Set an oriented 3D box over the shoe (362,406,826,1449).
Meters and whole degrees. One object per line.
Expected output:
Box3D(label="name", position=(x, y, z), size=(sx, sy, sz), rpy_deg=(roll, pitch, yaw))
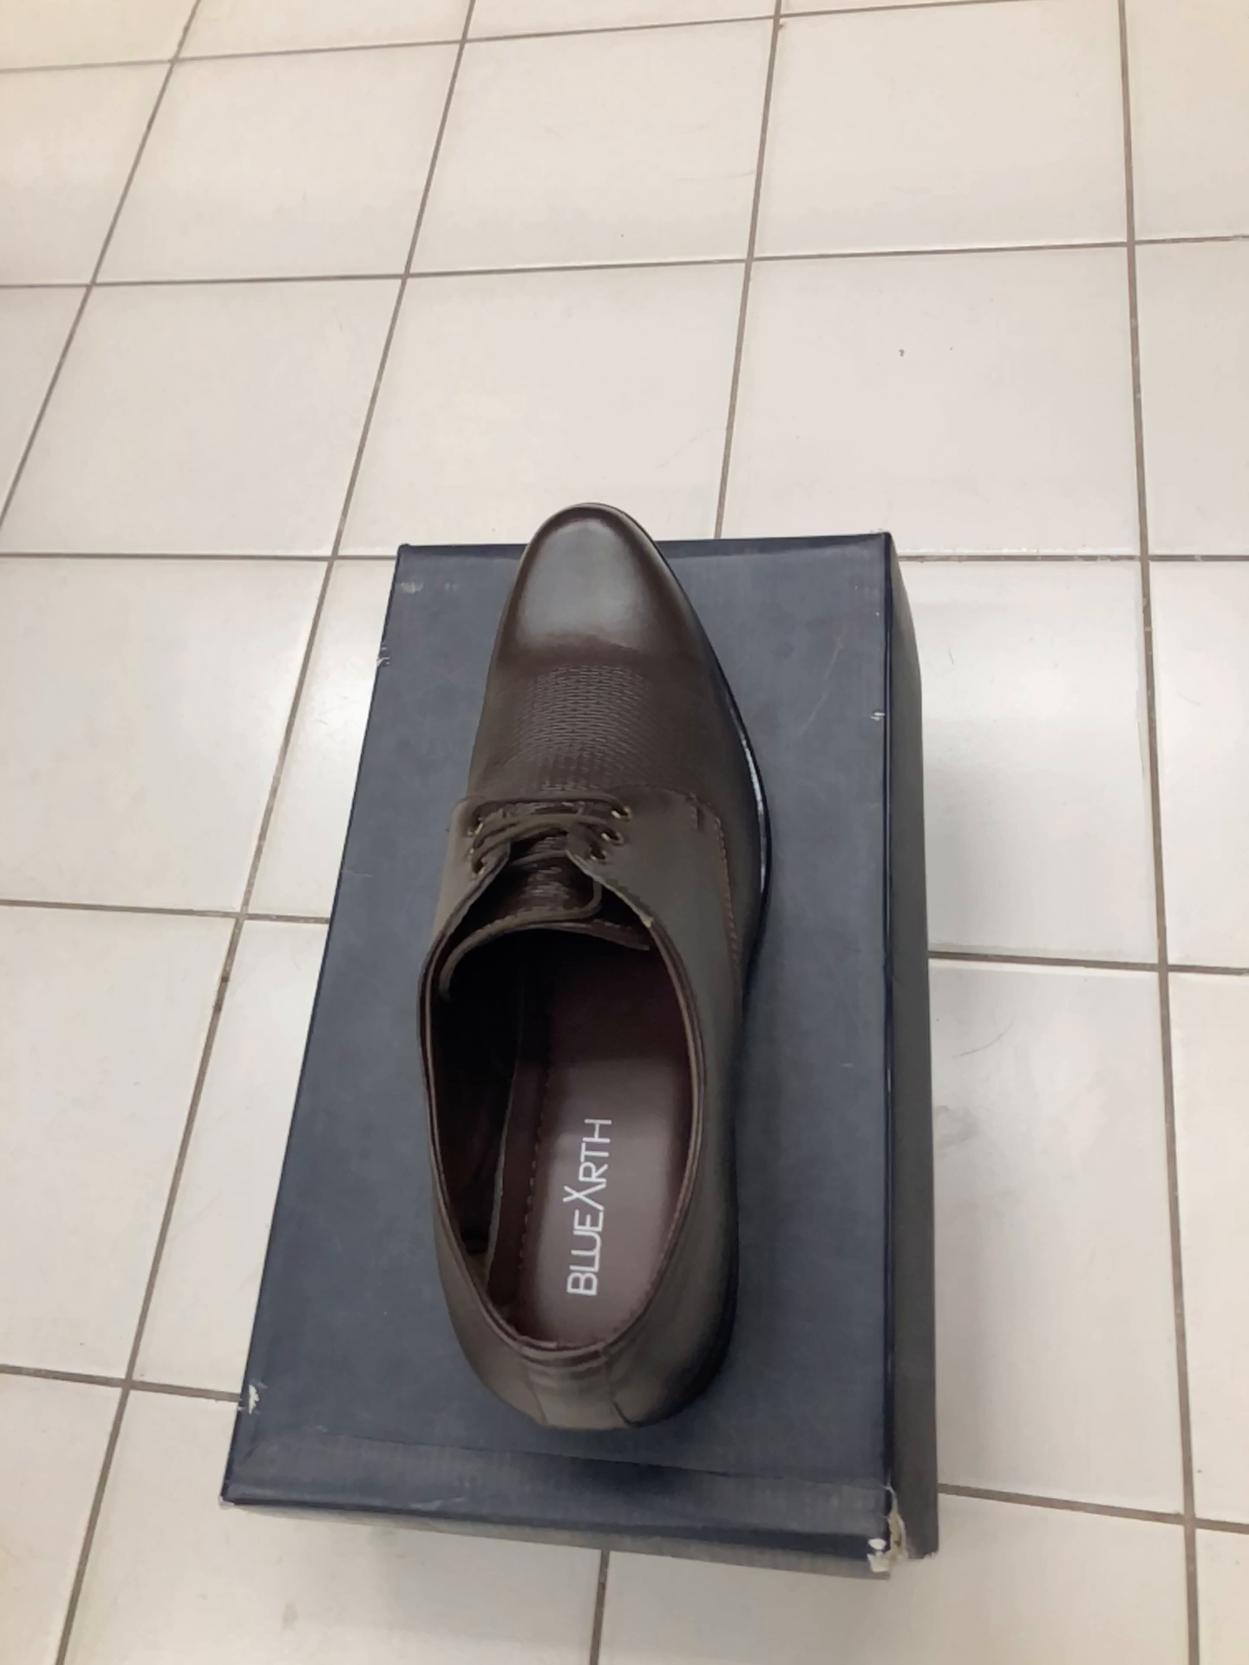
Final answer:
Box3D(label="shoe", position=(-0.003, 0.026, 0.418), size=(0.104, 0.109, 0.291), rpy_deg=(-4, 64, 7))
